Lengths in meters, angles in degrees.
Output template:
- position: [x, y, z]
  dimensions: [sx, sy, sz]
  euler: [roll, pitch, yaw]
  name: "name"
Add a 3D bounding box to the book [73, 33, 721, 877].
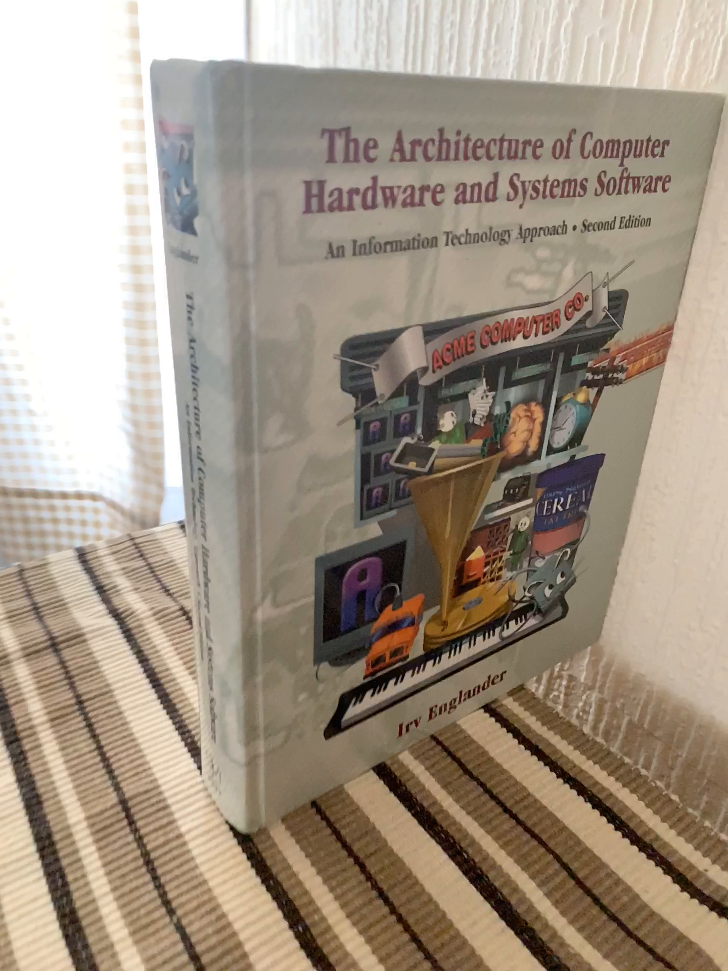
- position: [0.024, -0.010, 0.279]
  dimensions: [0.211, 0.258, 0.040]
  euler: [-17, 32, -32]
  name: "book"
